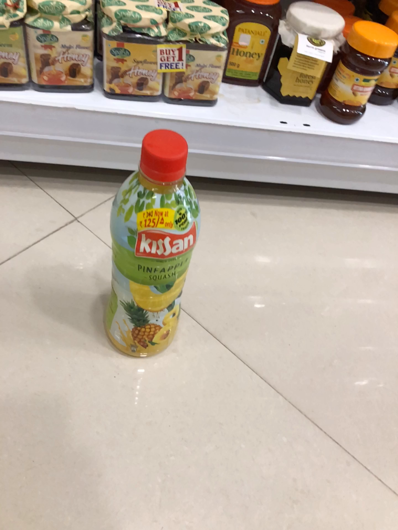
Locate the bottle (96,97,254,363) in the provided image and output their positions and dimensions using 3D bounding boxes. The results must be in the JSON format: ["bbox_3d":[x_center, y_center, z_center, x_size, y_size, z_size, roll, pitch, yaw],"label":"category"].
[{"bbox_3d":[-0.036,-0.011,0.356,0.080,0.229,0.080,6,53,-8],"label":"bottle"}]
